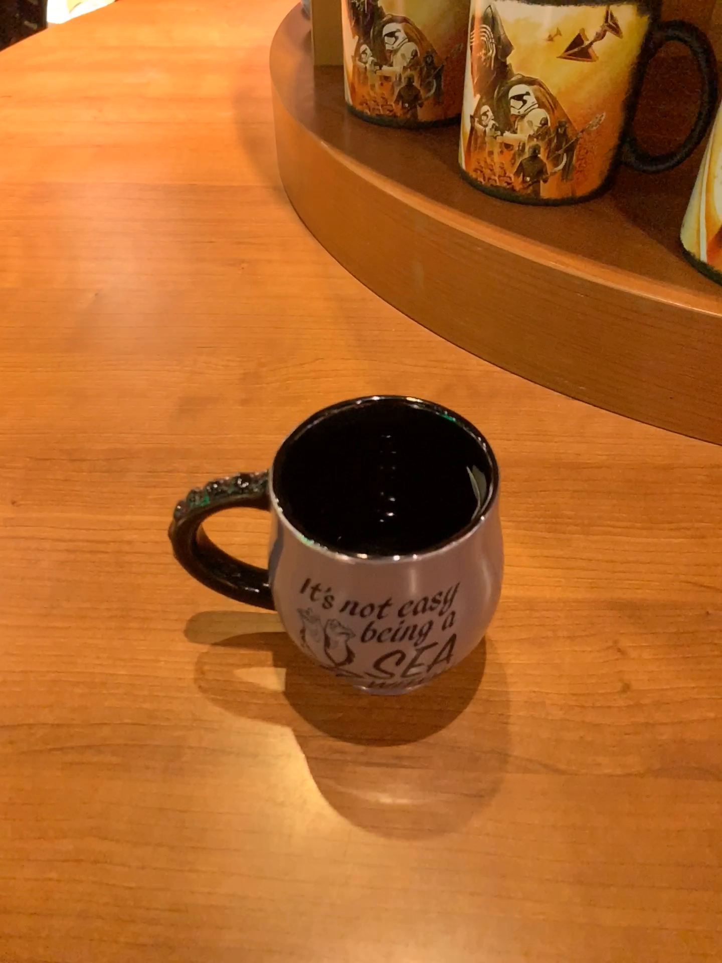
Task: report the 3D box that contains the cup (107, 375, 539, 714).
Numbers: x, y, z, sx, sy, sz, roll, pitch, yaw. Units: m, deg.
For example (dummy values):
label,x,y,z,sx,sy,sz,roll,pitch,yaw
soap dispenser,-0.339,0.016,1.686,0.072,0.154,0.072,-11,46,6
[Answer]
label,x,y,z,sx,sy,sz,roll,pitch,yaw
cup,-0.009,0.024,0.276,0.125,0.089,0.087,1,47,2
